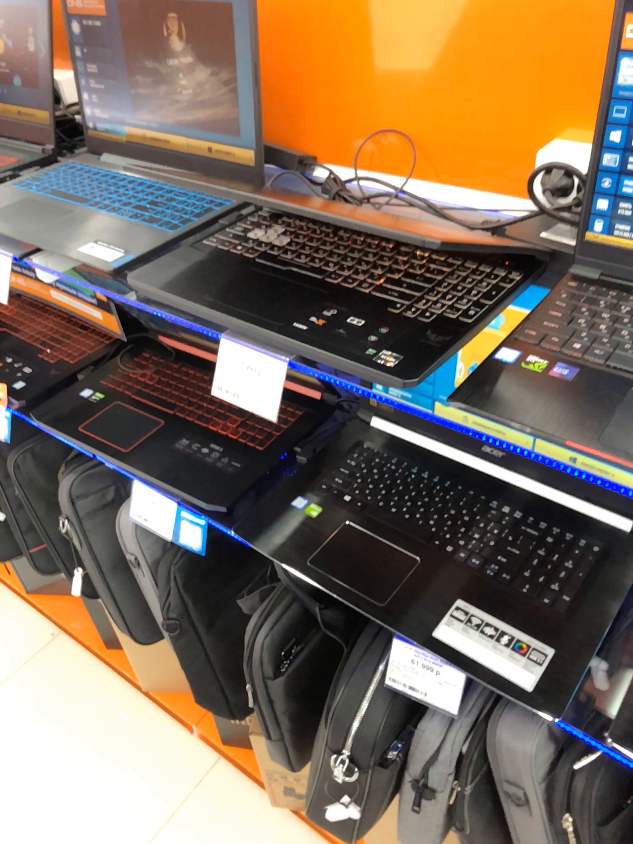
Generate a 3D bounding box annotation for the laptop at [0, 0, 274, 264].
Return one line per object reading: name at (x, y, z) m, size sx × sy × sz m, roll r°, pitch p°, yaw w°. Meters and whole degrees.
laptop at (-0.290, -0.405, 0.878) m, size 0.357 × 0.235 × 0.284 m, roll 23°, pitch 46°, yaw 31°

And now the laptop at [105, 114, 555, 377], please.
laptop at (0.012, -0.199, 0.694) m, size 0.347 × 0.106 × 0.240 m, roll 23°, pitch 46°, yaw 30°
